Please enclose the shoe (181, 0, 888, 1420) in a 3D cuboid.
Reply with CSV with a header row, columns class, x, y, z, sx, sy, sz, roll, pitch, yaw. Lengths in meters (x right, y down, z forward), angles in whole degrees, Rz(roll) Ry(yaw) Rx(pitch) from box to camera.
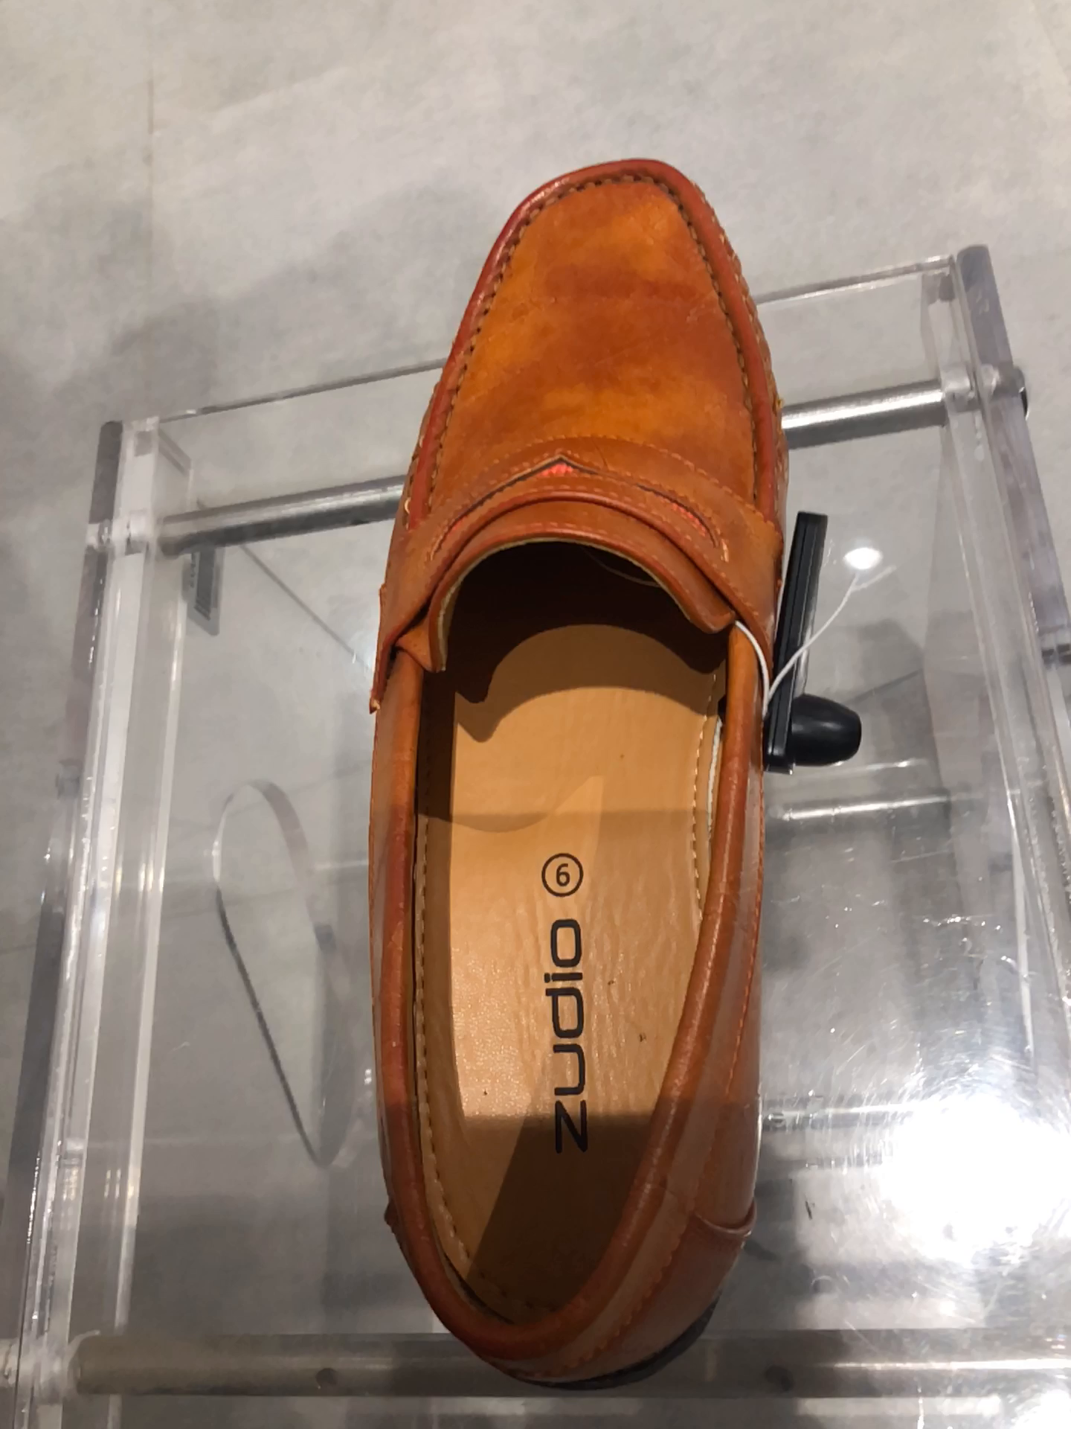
class,x,y,z,sx,sy,sz,roll,pitch,yaw
shoe,0.009,-0.017,0.273,0.110,0.090,0.291,-5,68,15
